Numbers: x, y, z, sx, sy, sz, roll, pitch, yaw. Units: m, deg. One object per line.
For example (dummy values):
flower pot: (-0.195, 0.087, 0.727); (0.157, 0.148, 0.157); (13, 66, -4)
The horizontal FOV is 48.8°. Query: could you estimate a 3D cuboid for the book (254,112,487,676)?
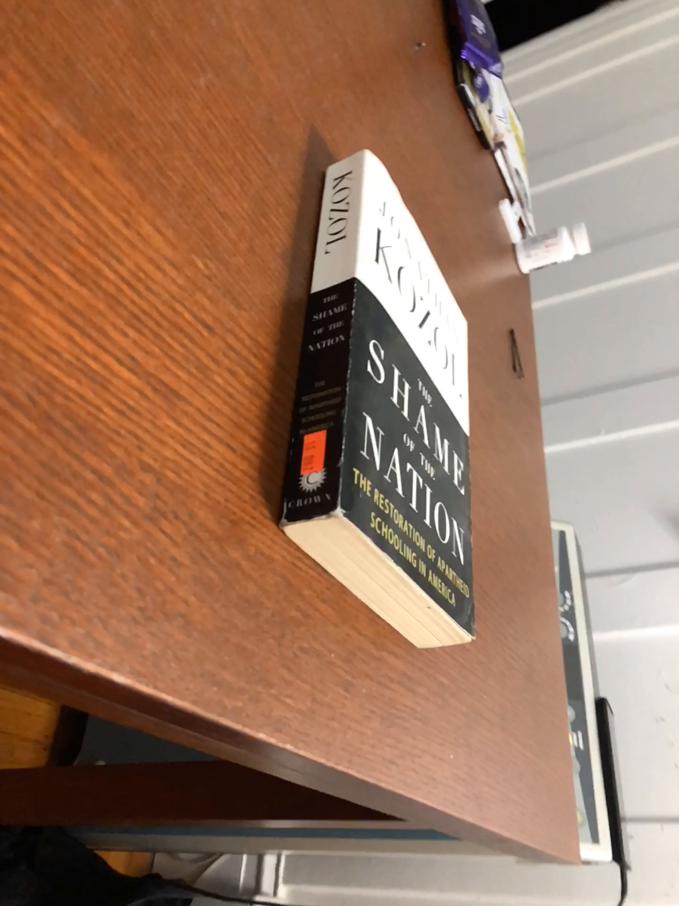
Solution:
book: (0.030, -0.029, 0.373); (0.160, 0.030, 0.231); (48, 38, -46)
